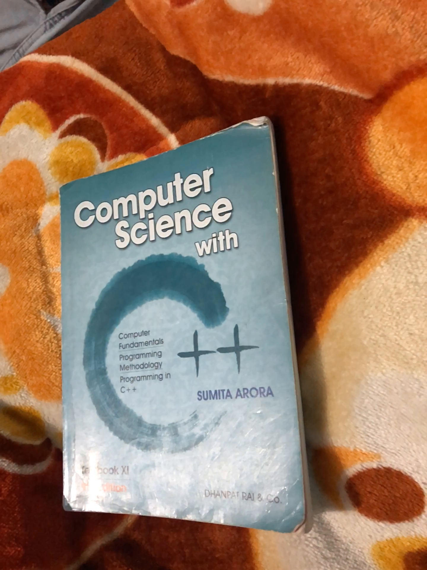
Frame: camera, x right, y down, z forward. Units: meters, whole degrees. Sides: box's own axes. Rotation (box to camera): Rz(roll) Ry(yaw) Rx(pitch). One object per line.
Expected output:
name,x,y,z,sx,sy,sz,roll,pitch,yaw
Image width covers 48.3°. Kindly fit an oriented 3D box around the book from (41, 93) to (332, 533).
book,-0.036,0.024,0.355,0.211,0.040,0.270,-9,78,26
